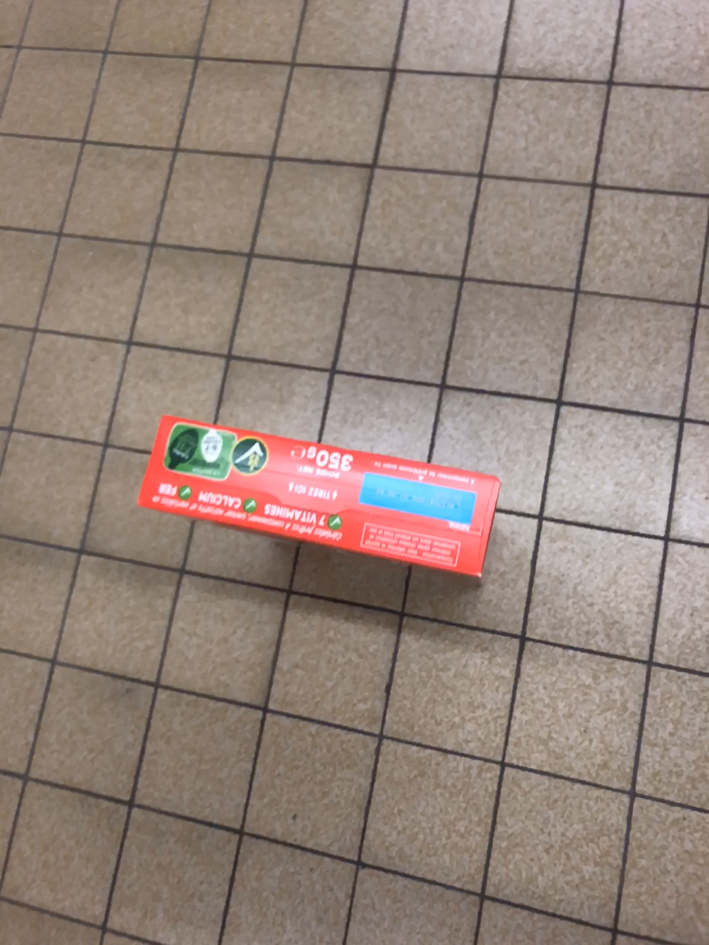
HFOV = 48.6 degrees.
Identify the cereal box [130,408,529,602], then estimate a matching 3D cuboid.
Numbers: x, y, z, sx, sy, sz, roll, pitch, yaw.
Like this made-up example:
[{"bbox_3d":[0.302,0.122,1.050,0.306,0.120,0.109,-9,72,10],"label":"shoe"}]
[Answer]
[{"bbox_3d":[0.007,0.036,0.538,0.200,0.280,0.060,11,82,11],"label":"cereal box"}]
